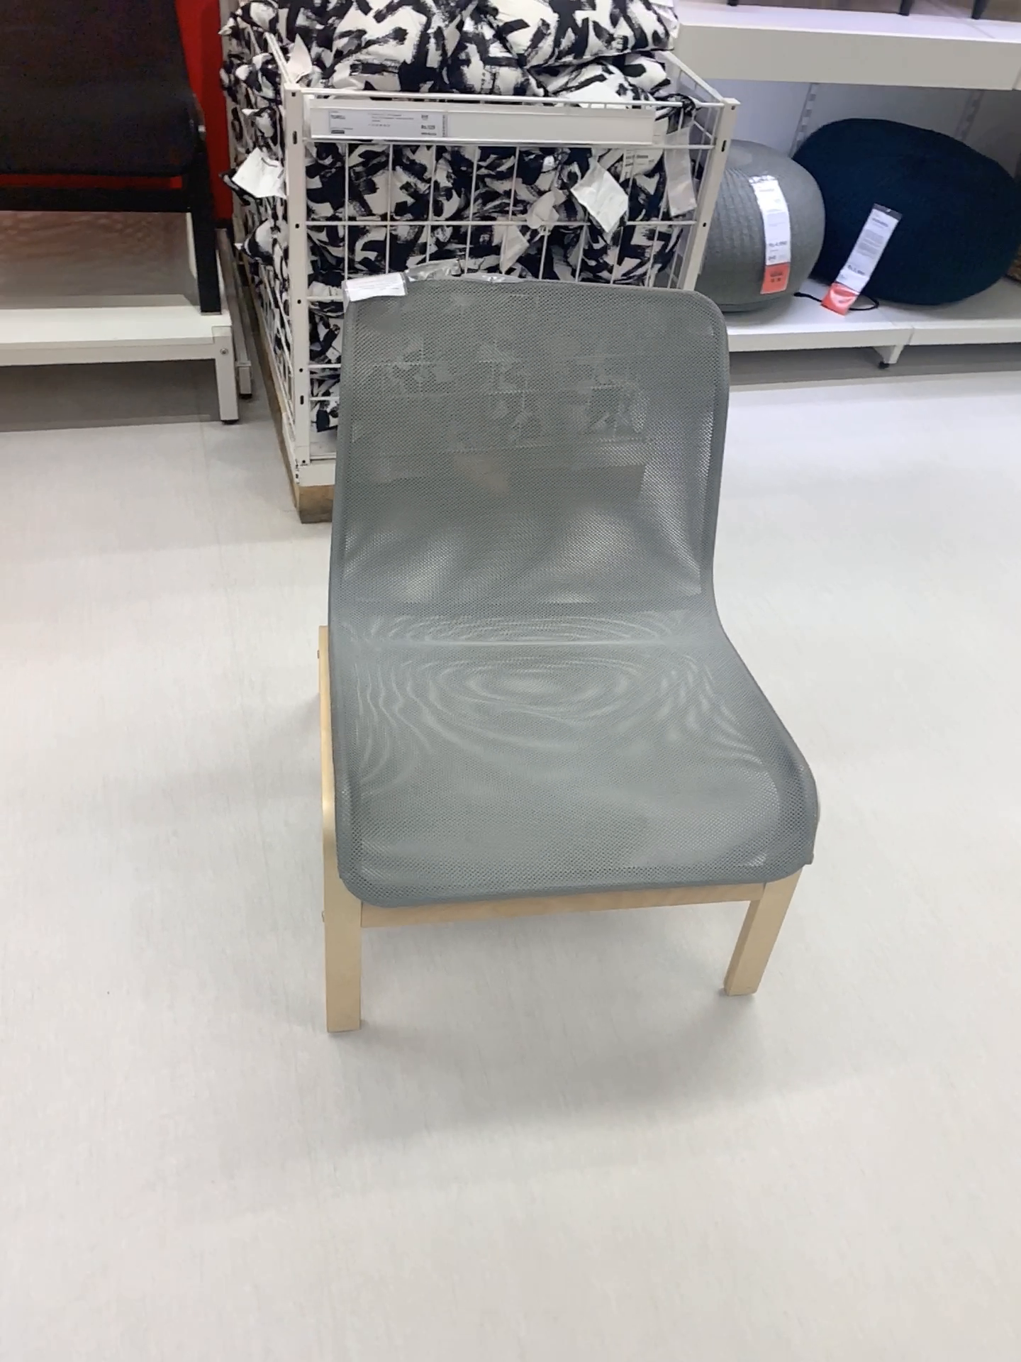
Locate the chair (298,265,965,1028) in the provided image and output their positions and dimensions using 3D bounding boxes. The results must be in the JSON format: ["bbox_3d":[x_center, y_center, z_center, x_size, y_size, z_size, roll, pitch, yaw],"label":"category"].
[{"bbox_3d":[0.036,-0.058,1.453,0.630,0.697,0.753,-1,46,-11],"label":"chair"}]
